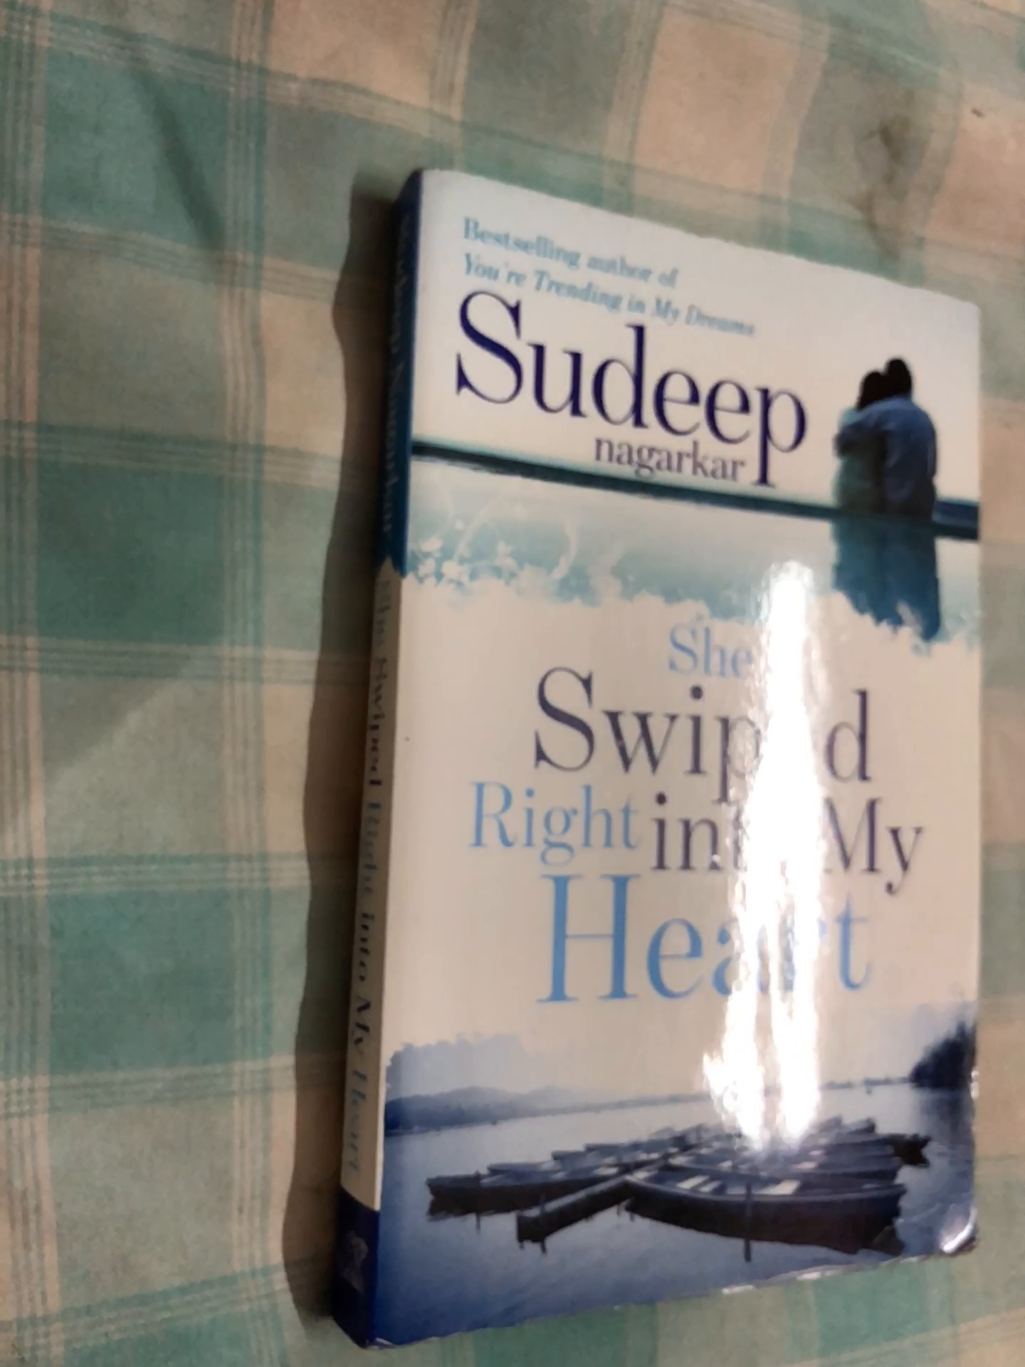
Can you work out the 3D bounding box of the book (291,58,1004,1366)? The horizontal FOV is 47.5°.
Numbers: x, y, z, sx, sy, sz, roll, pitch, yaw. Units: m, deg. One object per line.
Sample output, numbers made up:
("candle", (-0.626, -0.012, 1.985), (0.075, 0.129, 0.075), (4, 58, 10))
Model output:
("book", (0.031, 0.008, 0.222), (0.130, 0.030, 0.210), (4, 86, -23))
